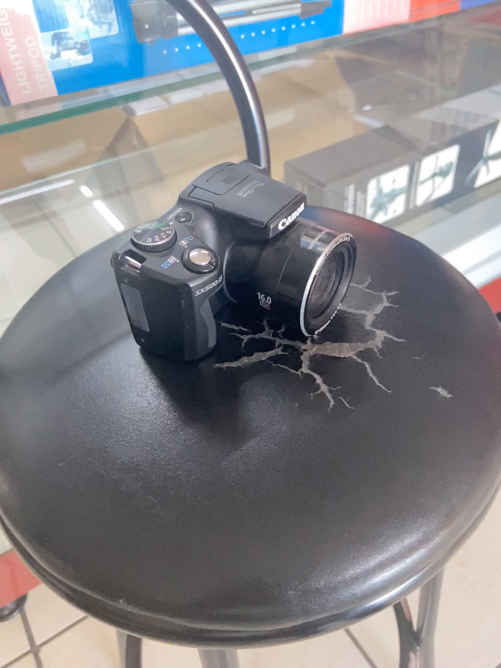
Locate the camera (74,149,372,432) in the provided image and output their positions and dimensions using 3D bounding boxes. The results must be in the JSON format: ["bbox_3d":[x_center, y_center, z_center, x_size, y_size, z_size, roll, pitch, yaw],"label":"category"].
[{"bbox_3d":[-0.006,-0.030,0.262,0.090,0.070,0.110,21,50,26],"label":"camera"}]
